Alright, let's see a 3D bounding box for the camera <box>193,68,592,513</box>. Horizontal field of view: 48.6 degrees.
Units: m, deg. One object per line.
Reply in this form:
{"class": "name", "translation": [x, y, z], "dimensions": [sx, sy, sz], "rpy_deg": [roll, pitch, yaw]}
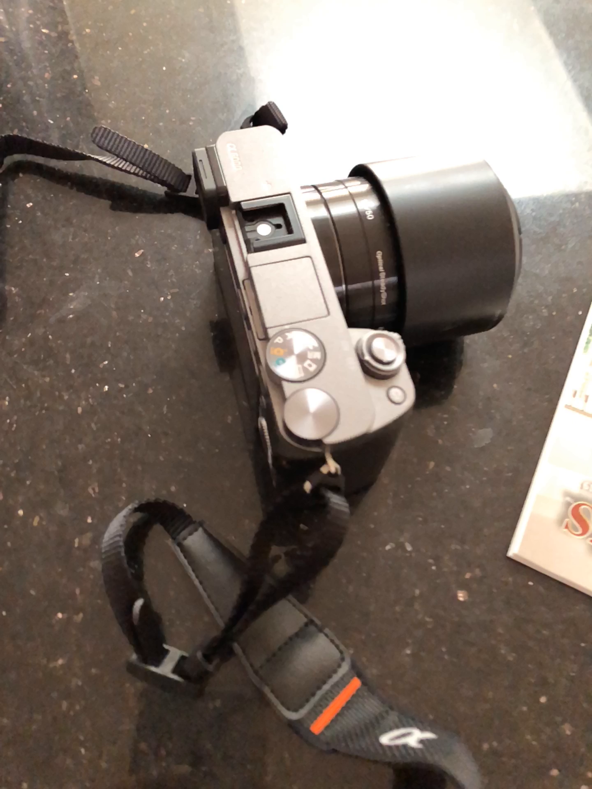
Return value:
{"class": "camera", "translation": [0.034, -0.038, 0.225], "dimensions": [0.110, 0.060, 0.120], "rpy_deg": [-13, 66, -10]}
